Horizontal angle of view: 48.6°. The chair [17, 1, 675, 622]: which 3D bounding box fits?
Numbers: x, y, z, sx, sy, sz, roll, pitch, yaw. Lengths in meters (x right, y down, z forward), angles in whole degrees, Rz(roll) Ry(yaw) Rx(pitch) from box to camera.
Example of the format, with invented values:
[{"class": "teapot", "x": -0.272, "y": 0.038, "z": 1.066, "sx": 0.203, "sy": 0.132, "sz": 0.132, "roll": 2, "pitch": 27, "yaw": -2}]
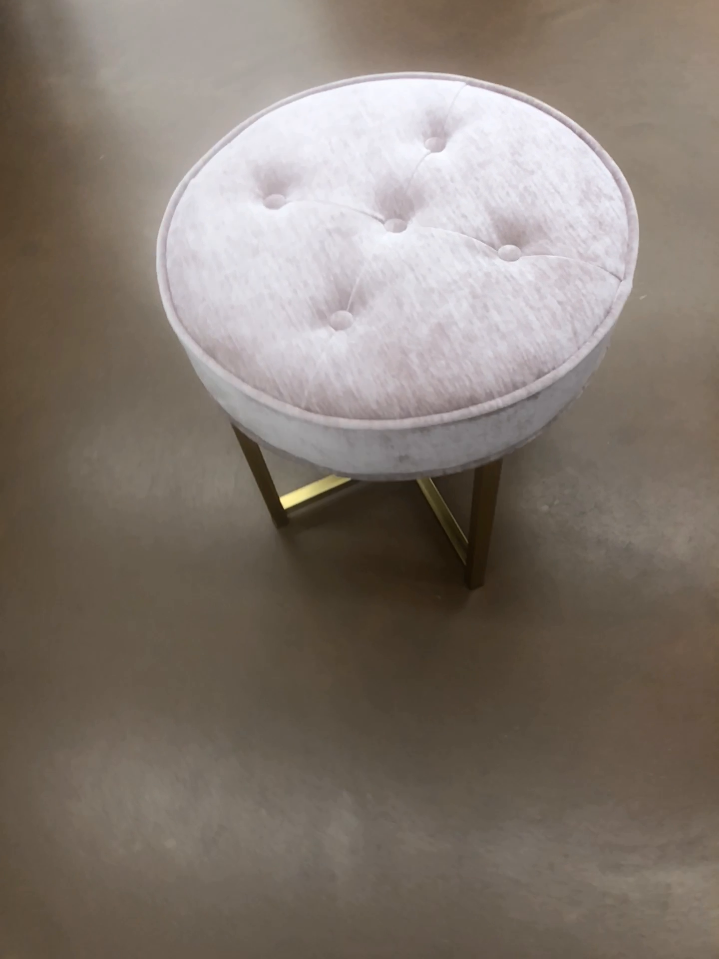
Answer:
[{"class": "chair", "x": 0.024, "y": -0.176, "z": 0.876, "sx": 0.470, "sy": 0.389, "sz": 0.451, "roll": 13, "pitch": 64, "yaw": 12}]
